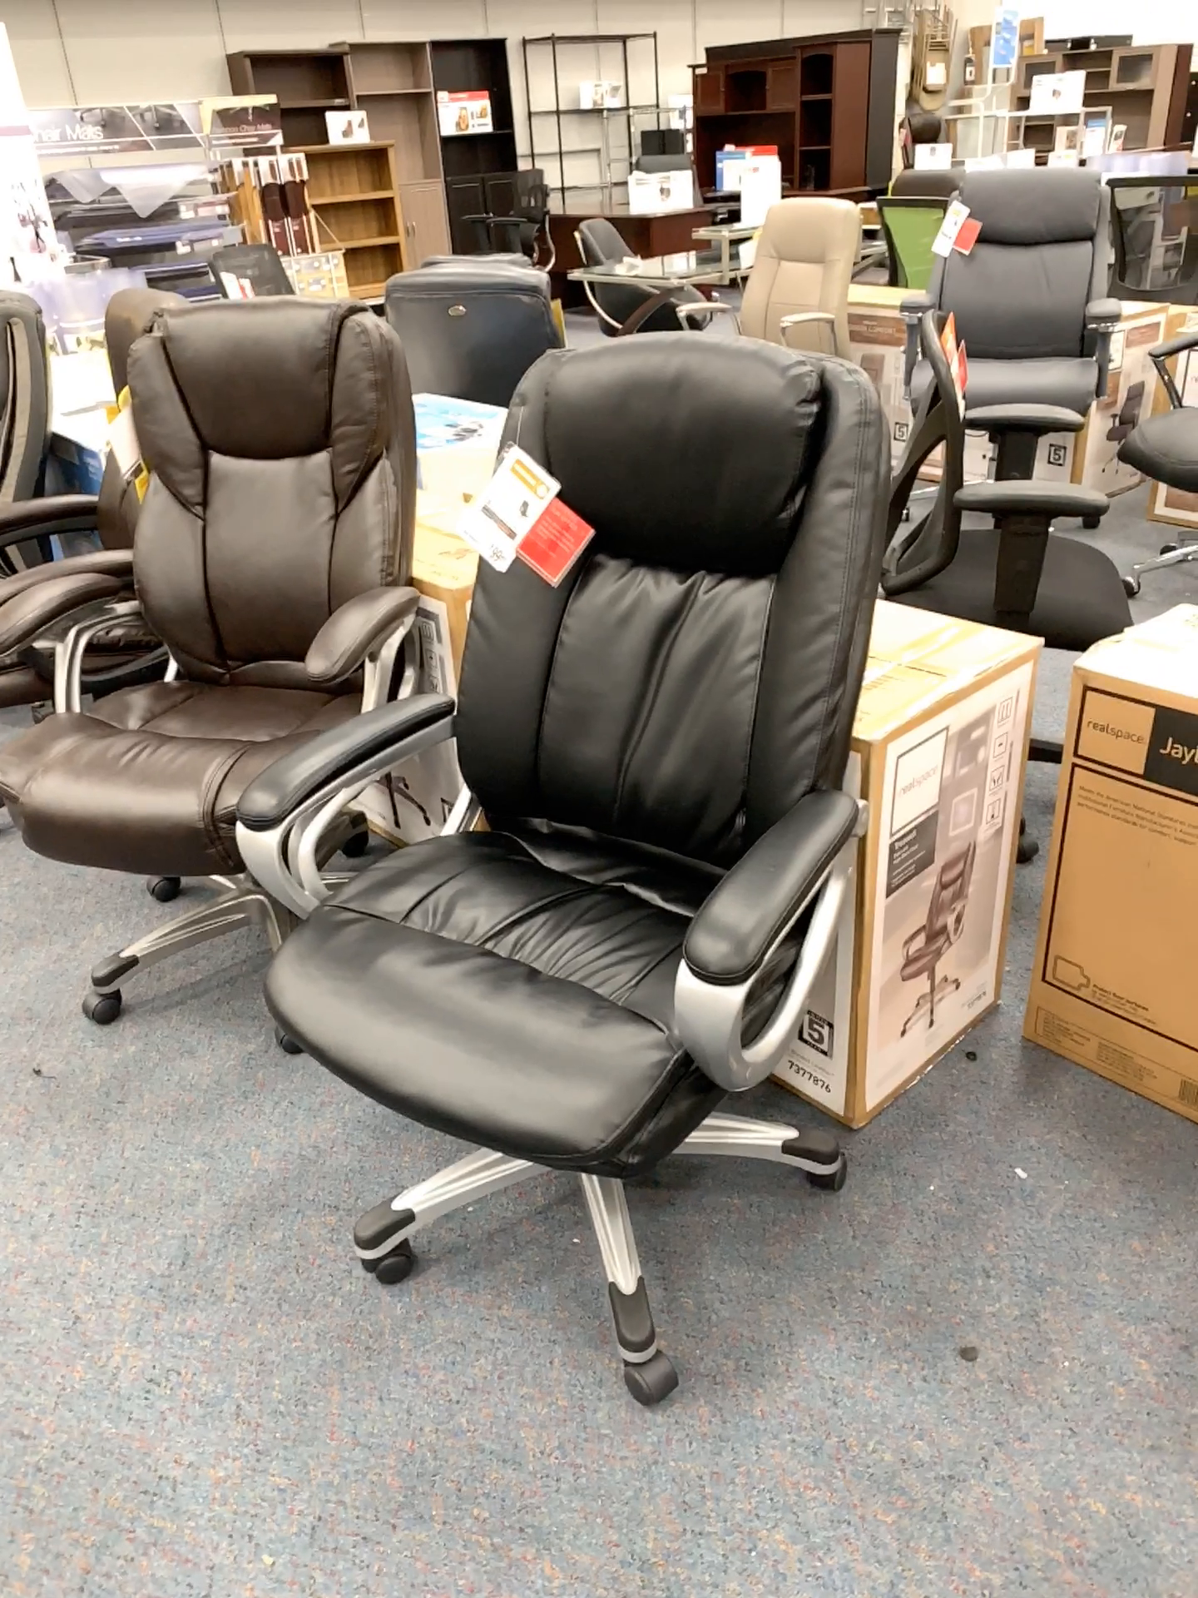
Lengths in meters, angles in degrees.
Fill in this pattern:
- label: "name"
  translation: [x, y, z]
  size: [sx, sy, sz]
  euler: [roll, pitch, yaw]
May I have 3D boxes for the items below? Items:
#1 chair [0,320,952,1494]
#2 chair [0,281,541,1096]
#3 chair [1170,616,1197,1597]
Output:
- label: "chair"
  translation: [-0.065, 0.052, 1.445]
  size: [0.675, 1.056, 0.659]
  euler: [15, 34, 31]
- label: "chair"
  translation: [-0.648, -0.245, 2.044]
  size: [0.755, 1.046, 0.790]
  euler: [8, 31, 21]
- label: "chair"
  translation: [0.866, 0.529, 0.556]
  size: [0.839, 0.926, 0.666]
  euler: [16, 35, 33]
